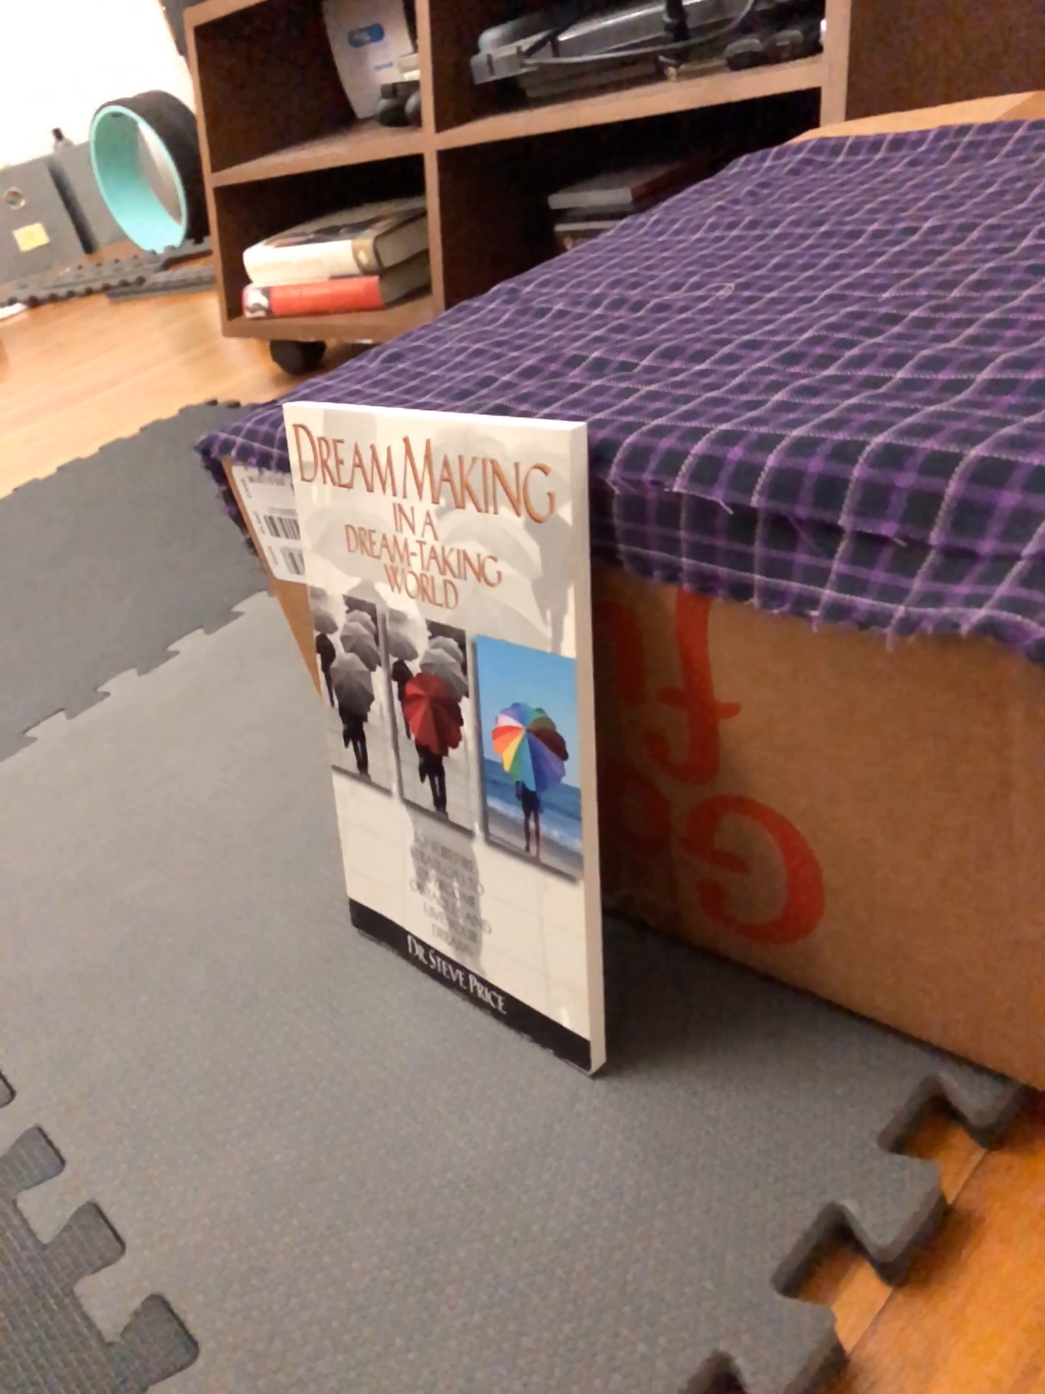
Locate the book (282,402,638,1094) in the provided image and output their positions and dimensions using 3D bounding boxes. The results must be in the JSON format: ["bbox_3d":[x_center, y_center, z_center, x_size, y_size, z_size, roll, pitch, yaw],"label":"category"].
[{"bbox_3d":[-0.024,0.011,0.411,0.020,0.219,0.150,-20,25,-36],"label":"book"}]
